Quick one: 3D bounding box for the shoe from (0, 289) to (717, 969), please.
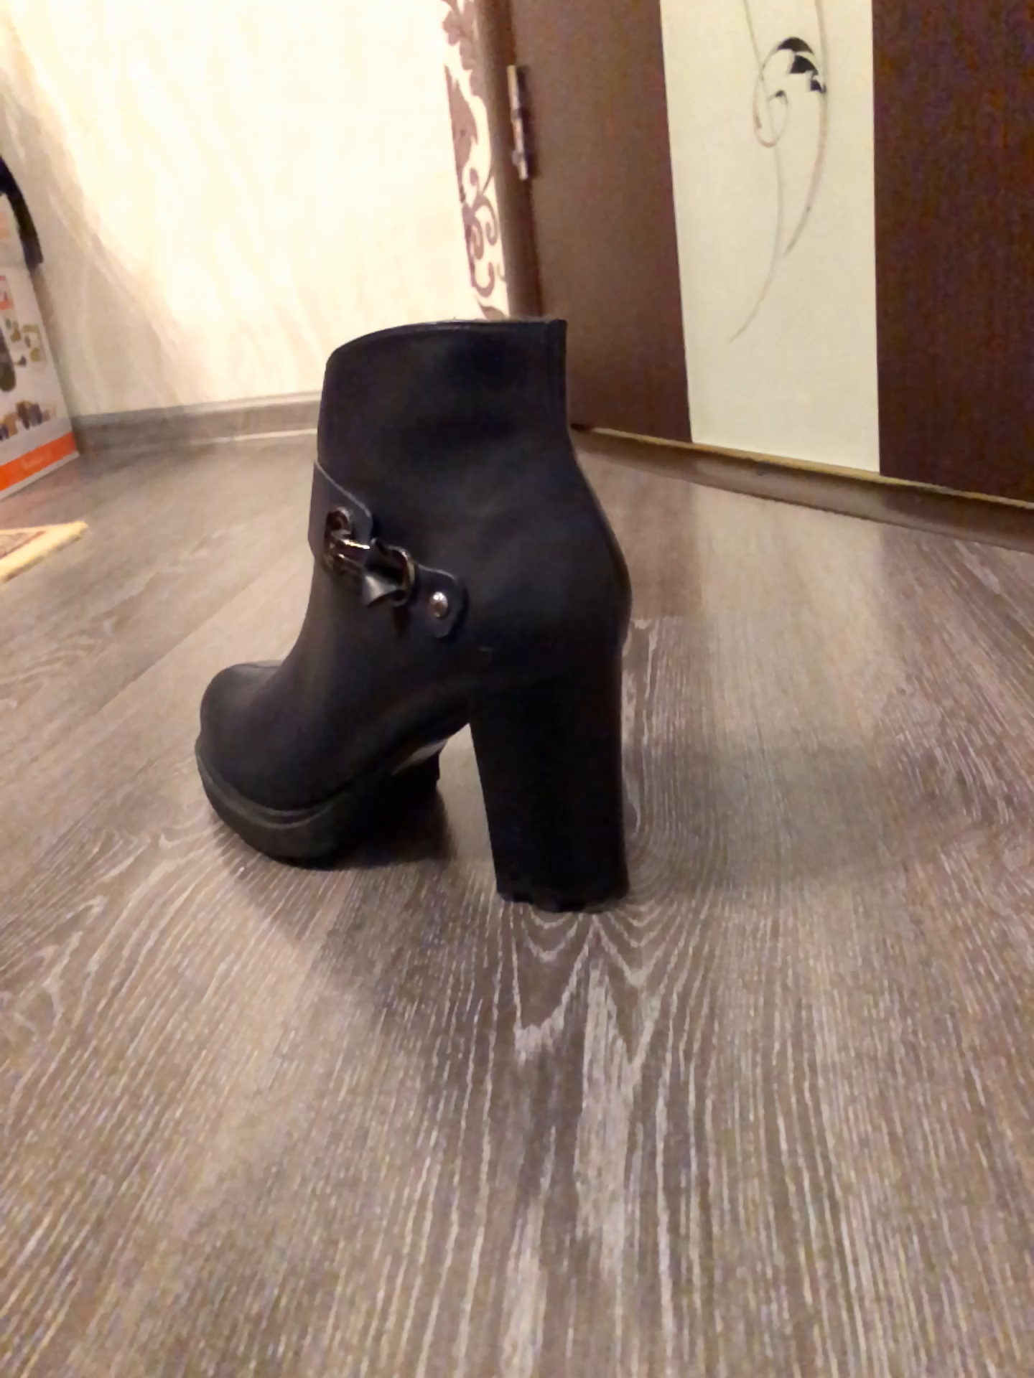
[{"bbox_3d":[-0.059,-0.036,0.429,0.230,0.189,0.110,10,26,38],"label":"shoe"}]
